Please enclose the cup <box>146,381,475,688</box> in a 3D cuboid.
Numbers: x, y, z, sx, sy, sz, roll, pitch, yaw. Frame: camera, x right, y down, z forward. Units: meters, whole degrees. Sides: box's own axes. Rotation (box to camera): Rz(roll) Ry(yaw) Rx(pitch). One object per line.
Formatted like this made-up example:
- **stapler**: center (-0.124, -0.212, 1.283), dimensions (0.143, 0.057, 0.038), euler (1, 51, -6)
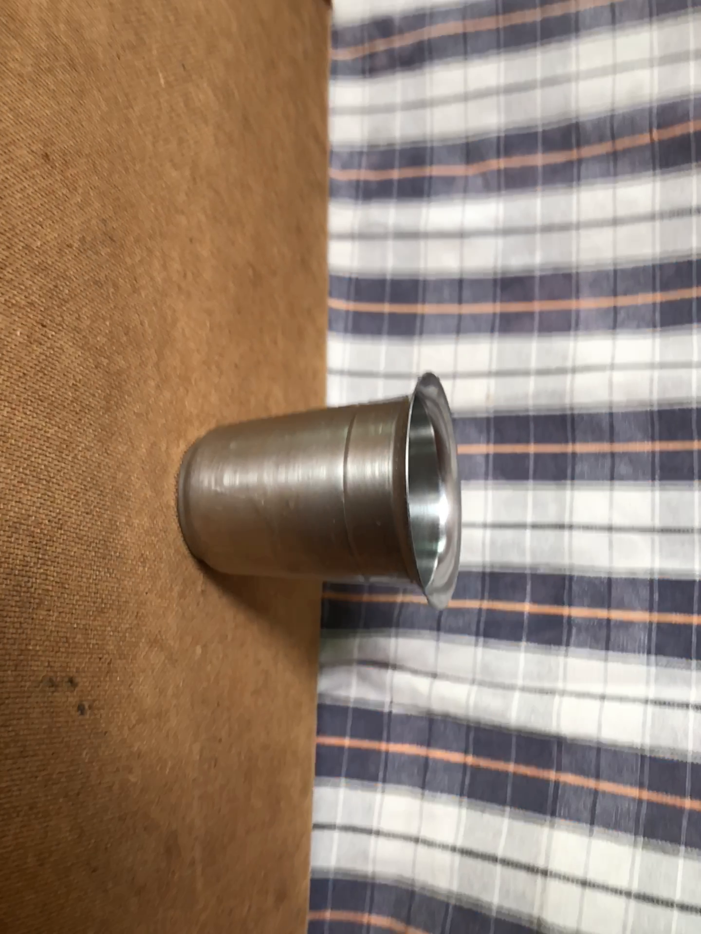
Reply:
- **cup**: center (-0.006, 0.024, 0.263), dimensions (0.070, 0.080, 0.070), euler (-4, 90, -72)
